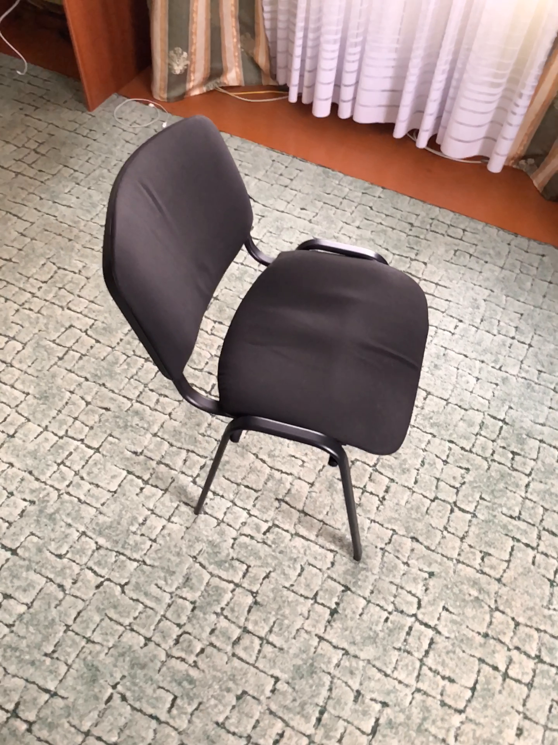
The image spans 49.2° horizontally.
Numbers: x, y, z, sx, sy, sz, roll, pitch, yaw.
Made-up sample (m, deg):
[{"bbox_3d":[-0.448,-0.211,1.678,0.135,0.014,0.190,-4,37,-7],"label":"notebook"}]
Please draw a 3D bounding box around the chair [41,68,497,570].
[{"bbox_3d":[0.016,-0.067,1.306,0.600,0.785,0.584,14,55,7],"label":"chair"}]
